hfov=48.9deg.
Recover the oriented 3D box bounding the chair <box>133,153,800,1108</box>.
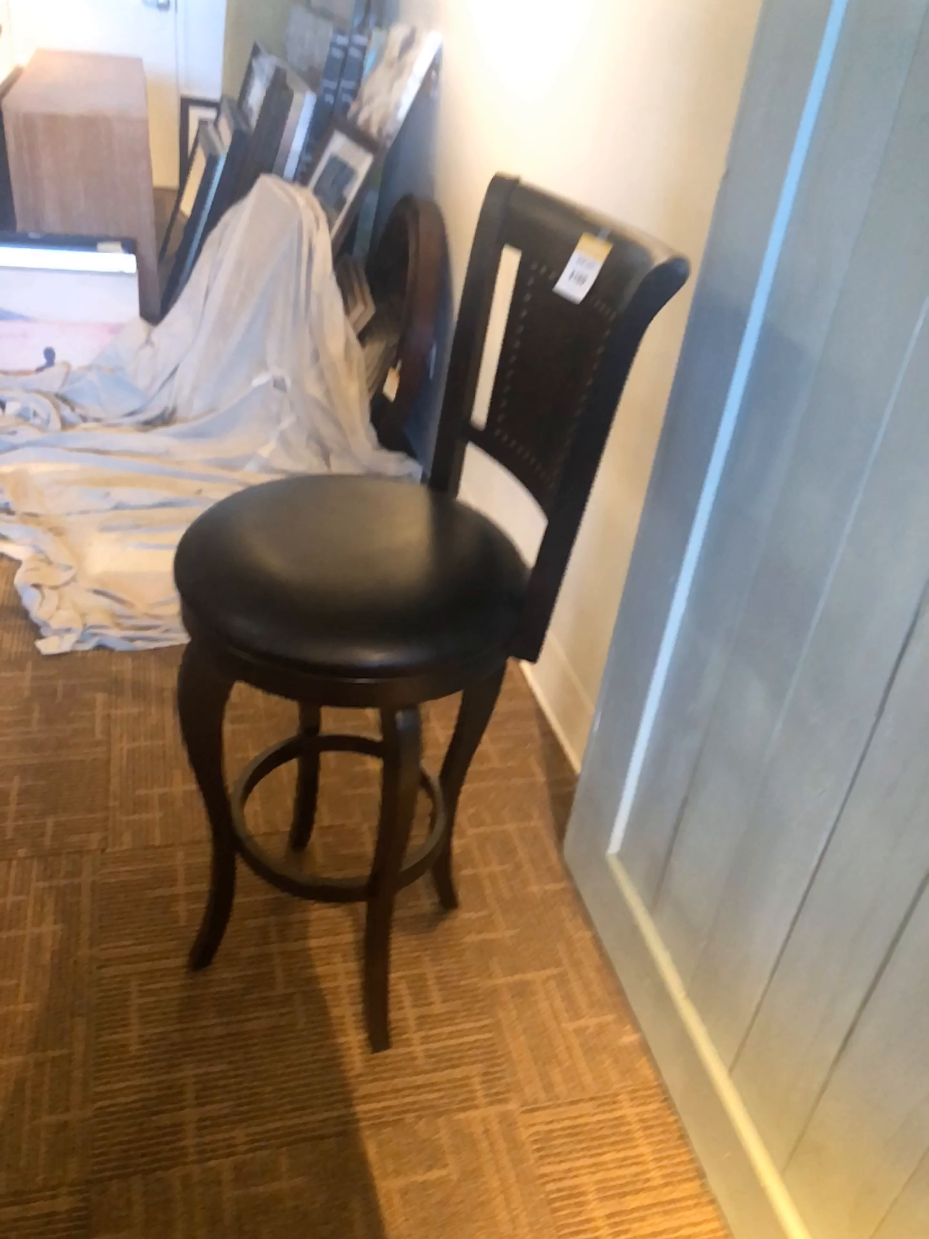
[{"bbox_3d":[-0.105,0.030,1.461,0.610,1.150,0.563,-5,34,-20],"label":"chair"}]
